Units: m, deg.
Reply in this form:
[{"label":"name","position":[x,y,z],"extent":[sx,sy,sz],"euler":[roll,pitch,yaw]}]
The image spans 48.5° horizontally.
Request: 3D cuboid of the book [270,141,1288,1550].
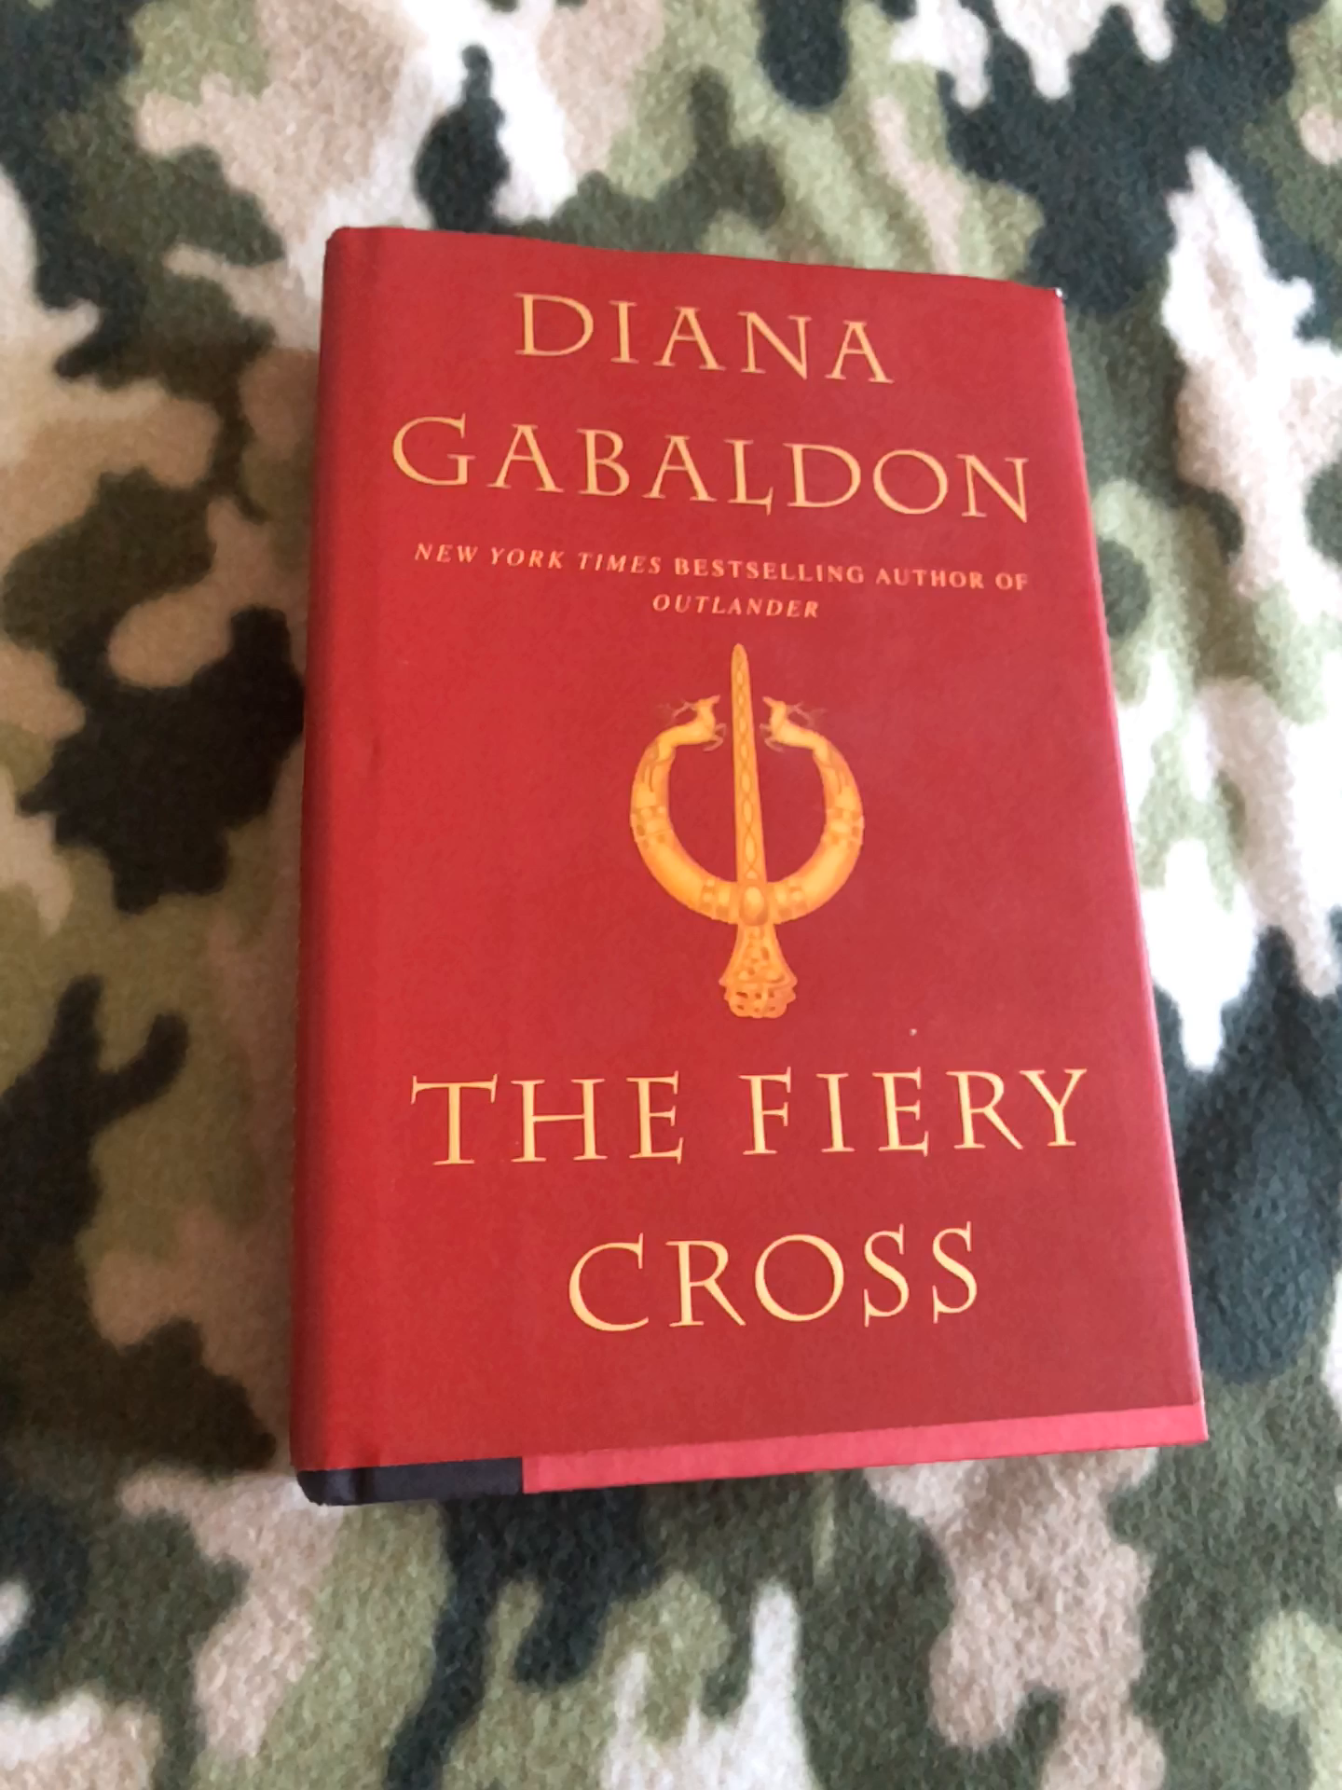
[{"label":"book","position":[0.010,-0.014,0.305],"extent":[0.170,0.070,0.250],"euler":[1,74,-13]}]
